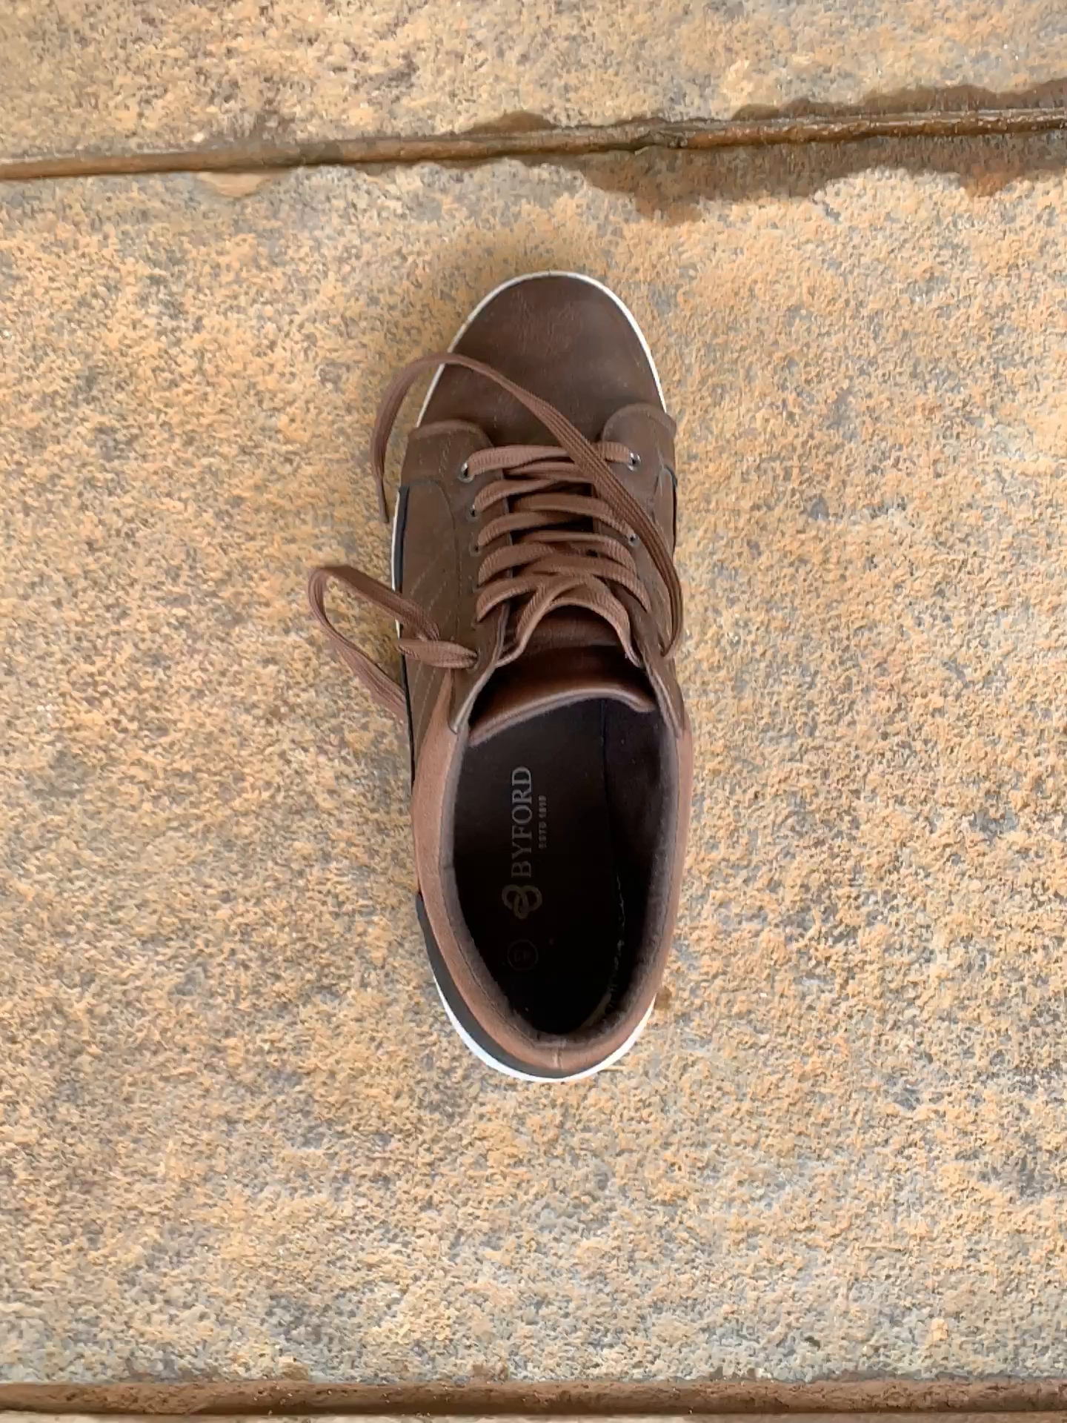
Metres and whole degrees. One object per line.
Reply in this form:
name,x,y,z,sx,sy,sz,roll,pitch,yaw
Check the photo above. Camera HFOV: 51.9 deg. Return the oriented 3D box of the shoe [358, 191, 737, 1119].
shoe,0.001,-0.022,0.387,0.110,0.080,0.300,-2,78,2
